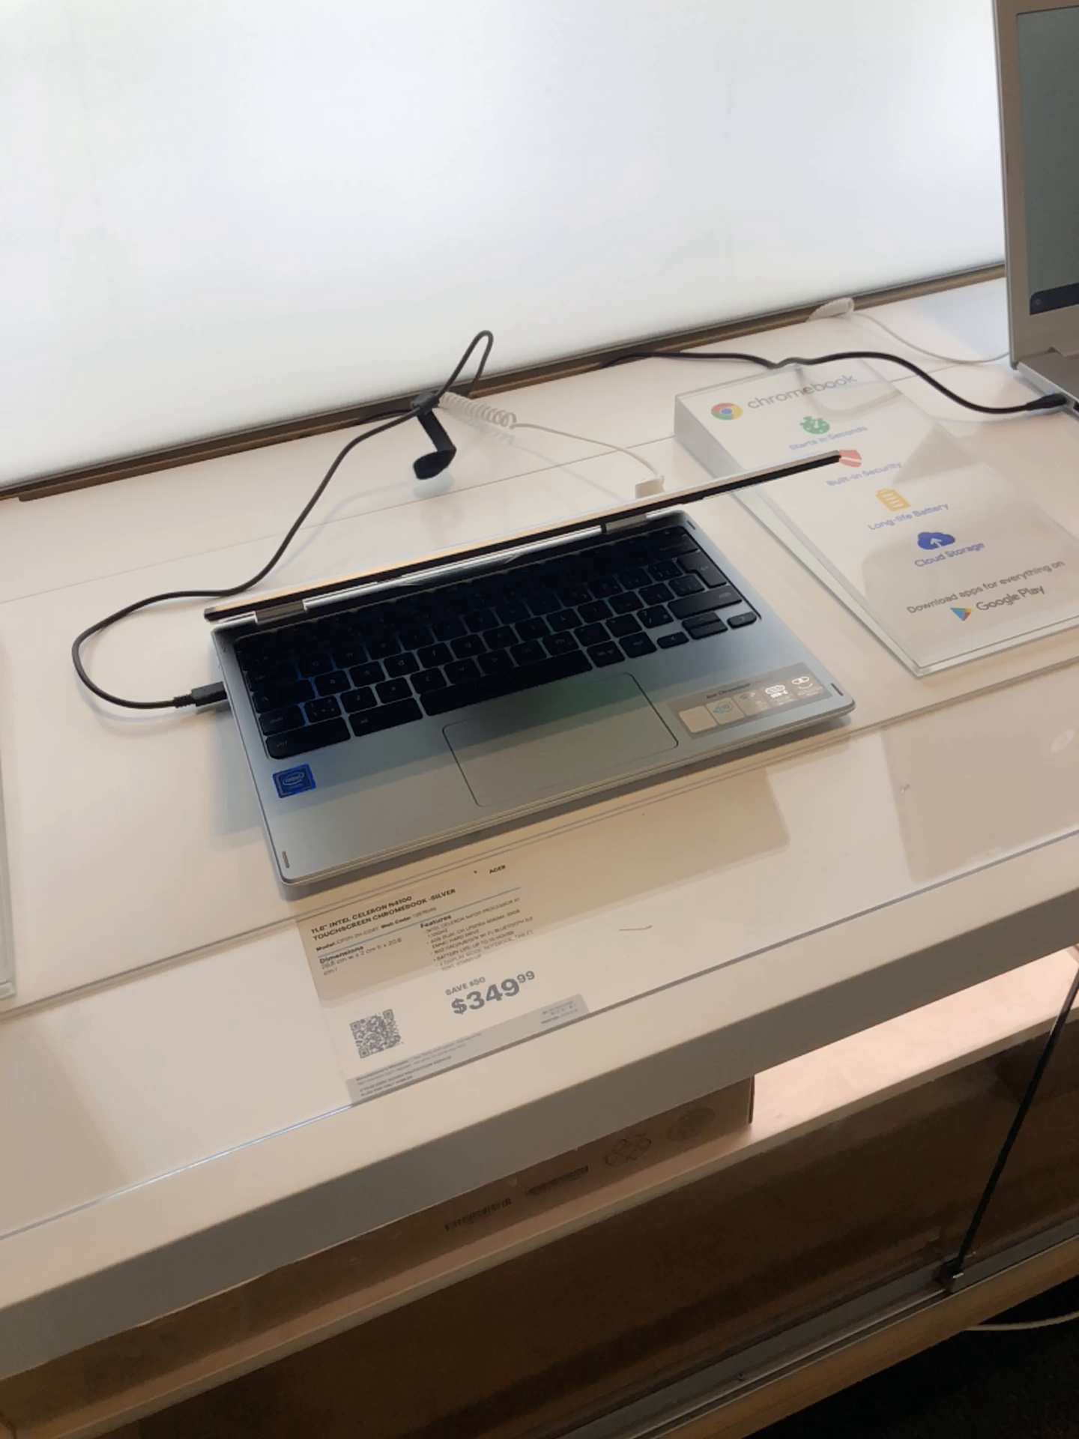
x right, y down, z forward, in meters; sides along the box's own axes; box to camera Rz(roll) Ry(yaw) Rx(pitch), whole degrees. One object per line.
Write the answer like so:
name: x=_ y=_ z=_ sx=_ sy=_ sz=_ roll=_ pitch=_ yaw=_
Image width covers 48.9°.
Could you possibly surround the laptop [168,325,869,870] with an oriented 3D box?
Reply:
laptop: x=-0.017 y=-0.075 z=0.594 sx=0.279 sy=0.123 sz=0.192 roll=-16 pitch=43 yaw=-14
